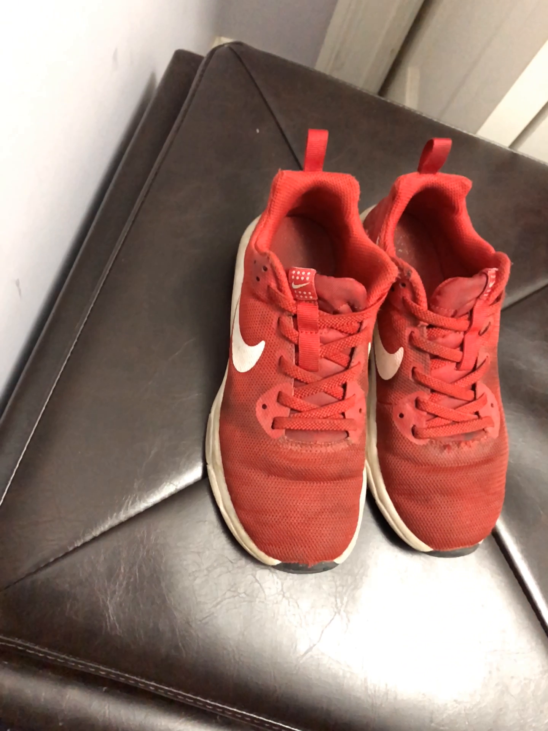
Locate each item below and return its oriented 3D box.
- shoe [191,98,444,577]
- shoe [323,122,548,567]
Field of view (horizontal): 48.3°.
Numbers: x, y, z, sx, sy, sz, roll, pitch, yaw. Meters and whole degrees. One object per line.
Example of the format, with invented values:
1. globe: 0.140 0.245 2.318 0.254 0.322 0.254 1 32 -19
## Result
1. shoe: 0.013 -0.008 0.321 0.095 0.100 0.220 4 73 -12
2. shoe: 0.104 -0.009 0.345 0.095 0.100 0.220 -4 74 -14
